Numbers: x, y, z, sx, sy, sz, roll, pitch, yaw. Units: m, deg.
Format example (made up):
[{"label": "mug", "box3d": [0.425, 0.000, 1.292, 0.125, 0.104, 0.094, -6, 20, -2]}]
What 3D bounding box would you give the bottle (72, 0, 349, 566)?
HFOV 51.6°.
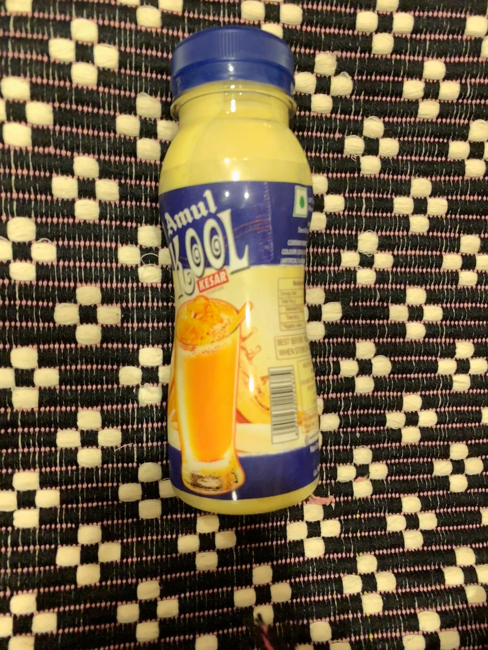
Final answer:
[{"label": "bottle", "box3d": [-0.008, -0.023, 0.160, 0.060, 0.060, 0.160, -2, 92, -54]}]
